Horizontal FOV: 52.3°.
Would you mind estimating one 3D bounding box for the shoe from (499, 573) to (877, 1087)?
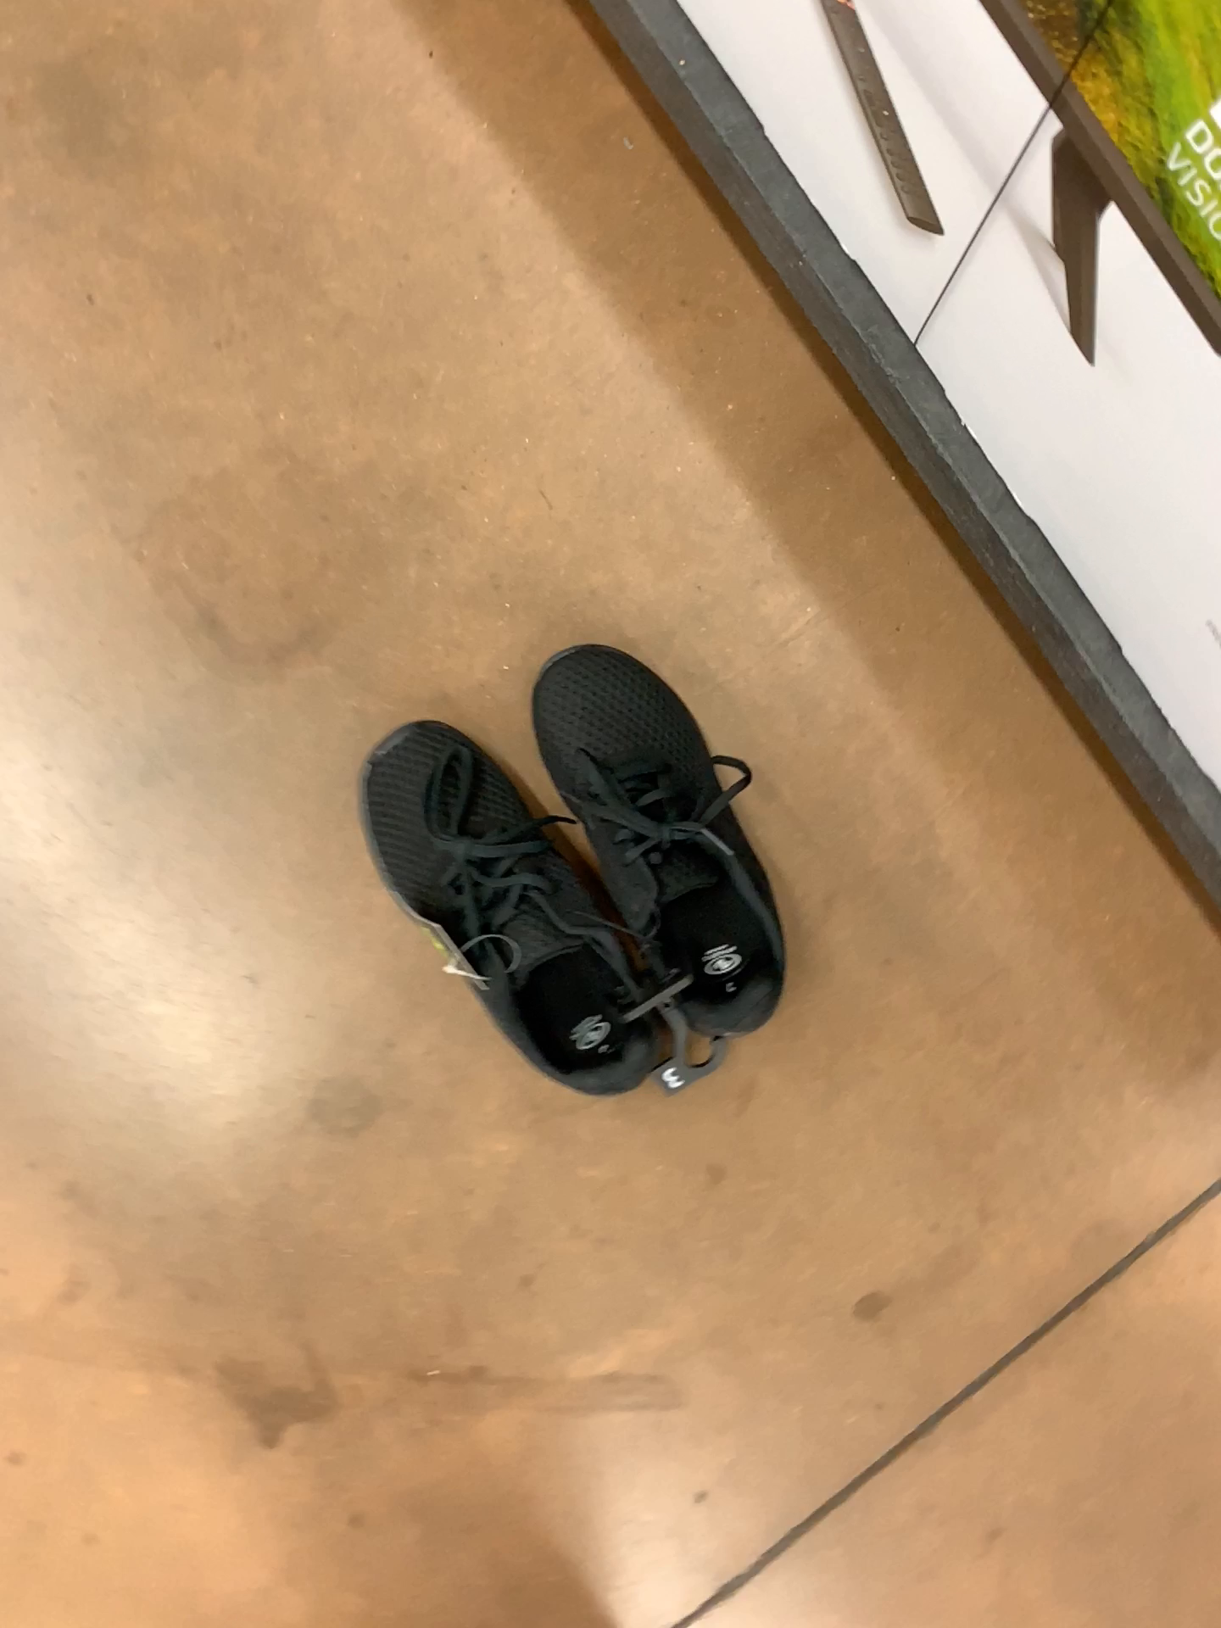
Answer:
[{"bbox_3d":[0.035,0.008,0.636,0.090,0.080,0.230,-26,91,-7],"label":"shoe"}]

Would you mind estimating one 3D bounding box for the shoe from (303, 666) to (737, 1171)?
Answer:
[{"bbox_3d":[-0.046,0.051,0.631,0.090,0.080,0.230,-35,92,-6],"label":"shoe"}]
